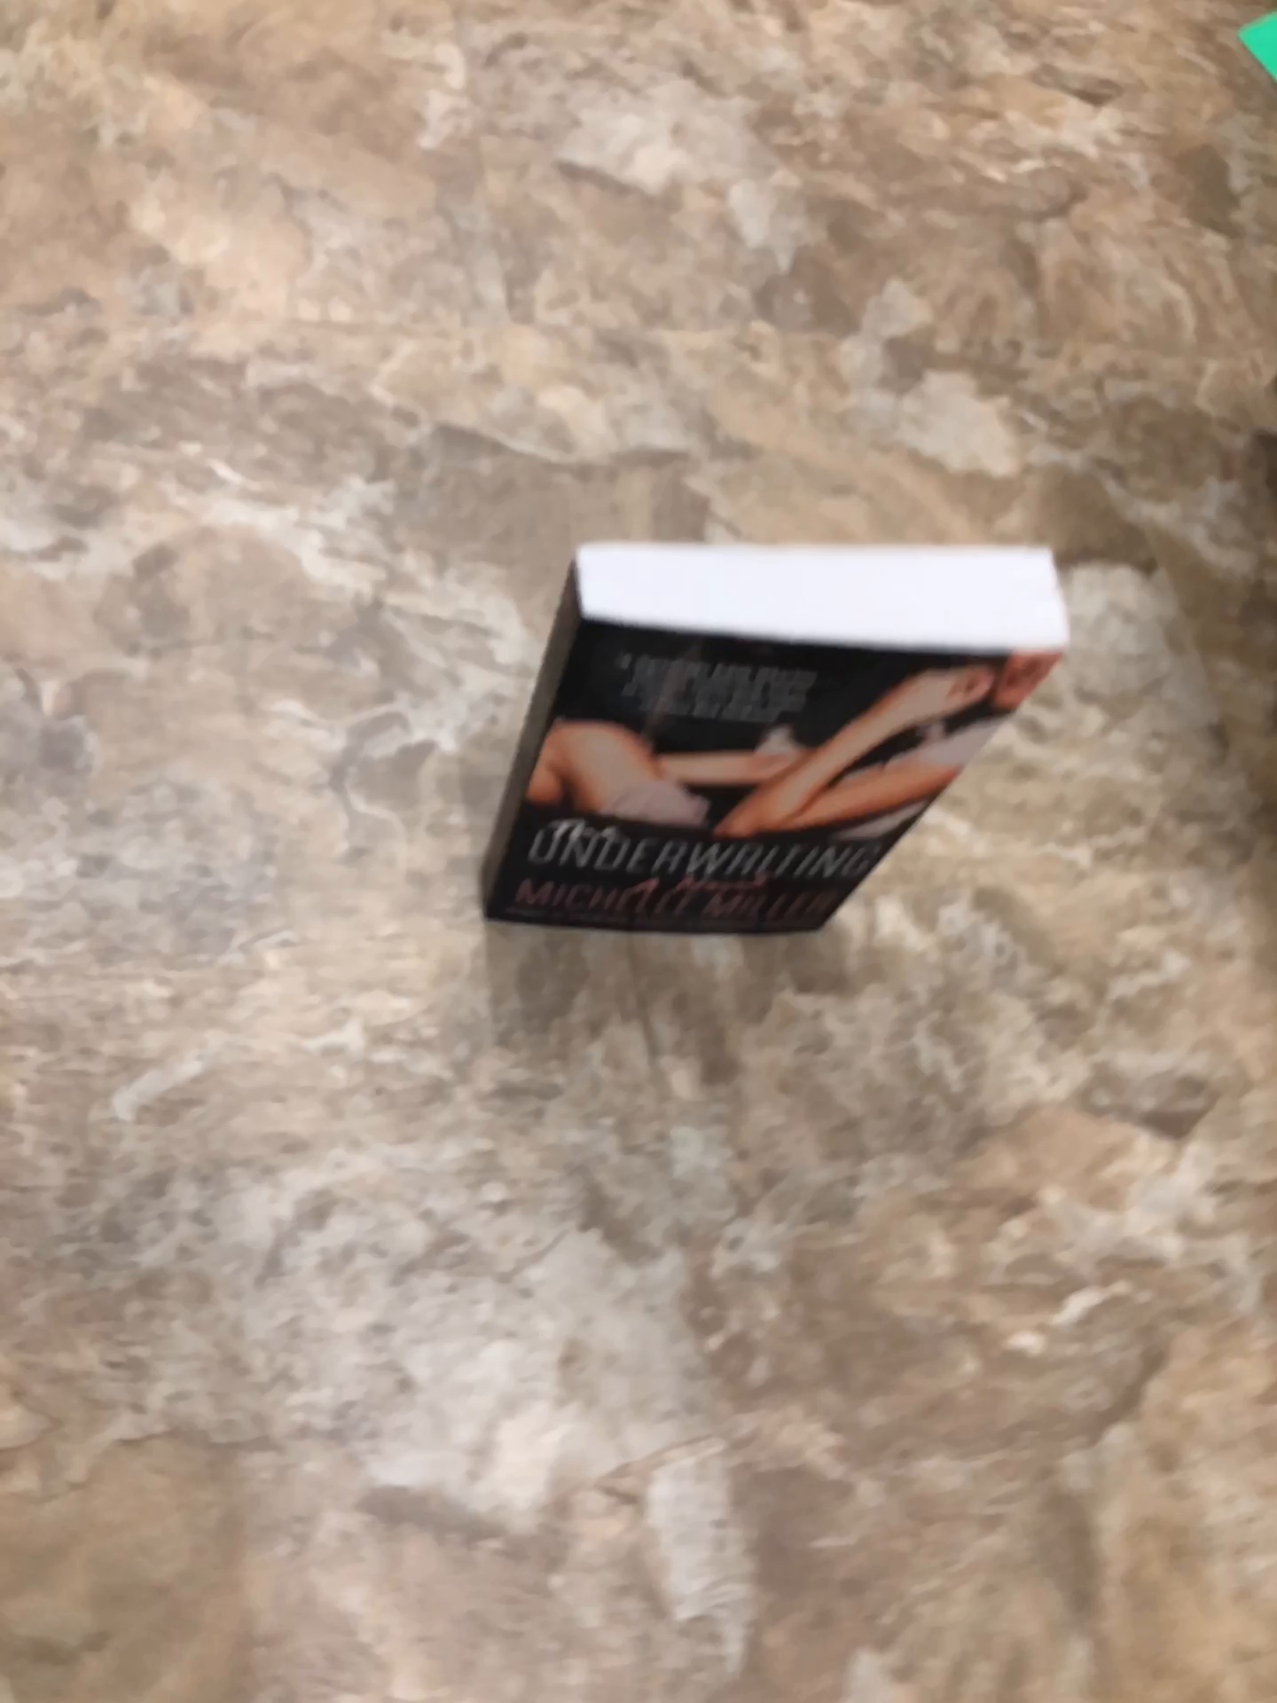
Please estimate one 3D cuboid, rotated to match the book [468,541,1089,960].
[{"bbox_3d":[0.027,-0.018,0.457,0.140,0.203,0.035,1,65,-14],"label":"book"}]
